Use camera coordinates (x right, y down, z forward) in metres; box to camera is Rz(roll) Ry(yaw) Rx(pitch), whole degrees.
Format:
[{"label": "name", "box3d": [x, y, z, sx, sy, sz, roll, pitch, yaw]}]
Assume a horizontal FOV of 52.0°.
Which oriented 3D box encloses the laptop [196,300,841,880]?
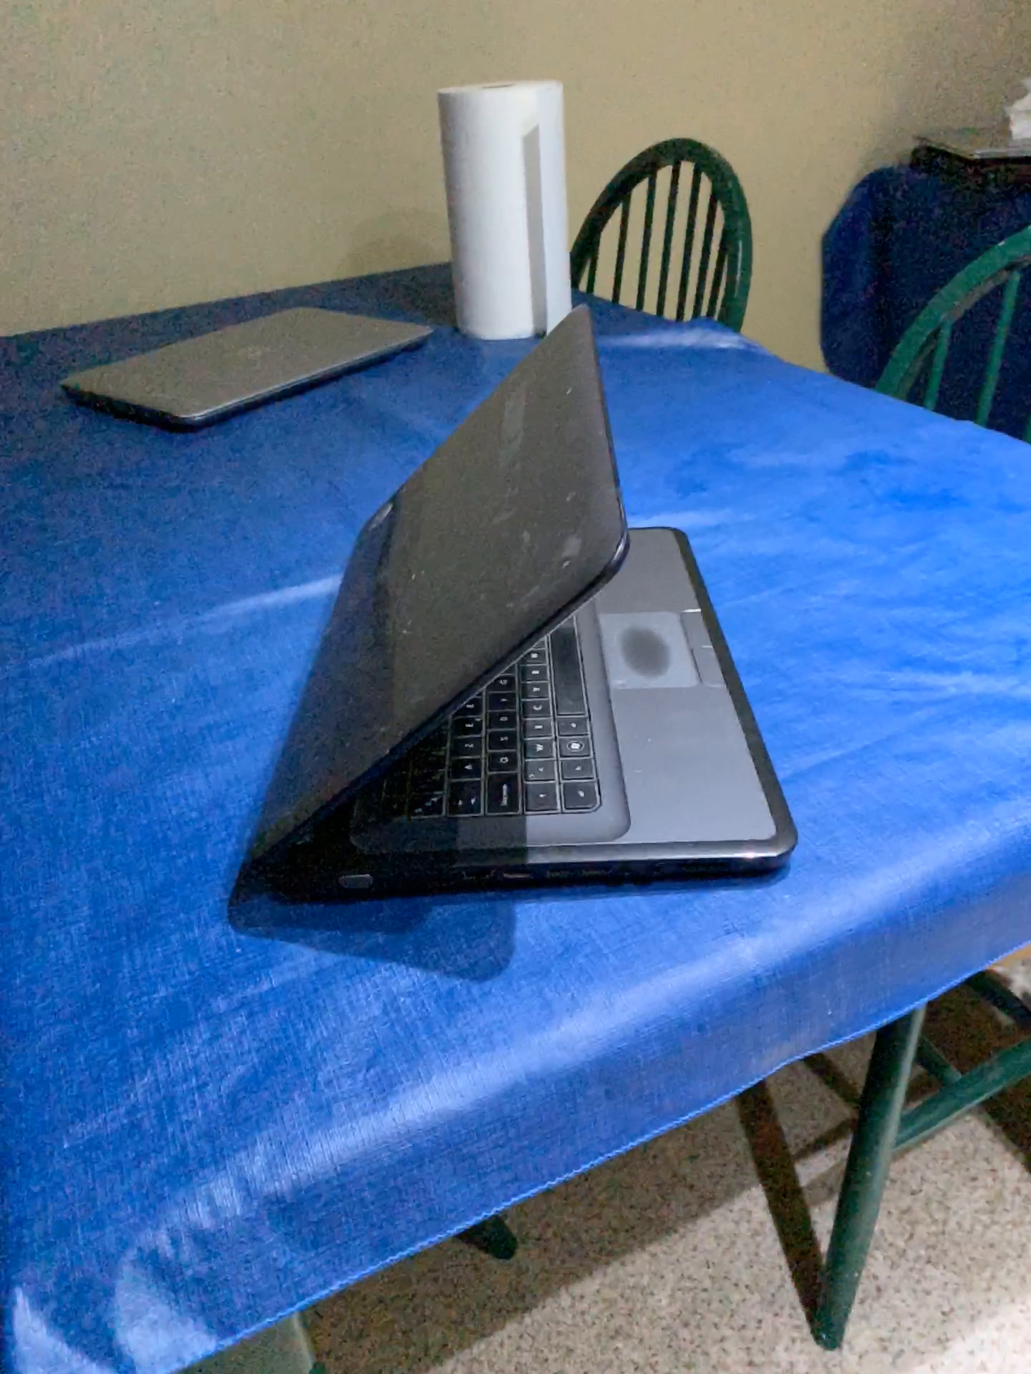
[{"label": "laptop", "box3d": [0.002, -0.084, 0.593, 0.243, 0.160, 0.364, -4, 32, 1]}]
